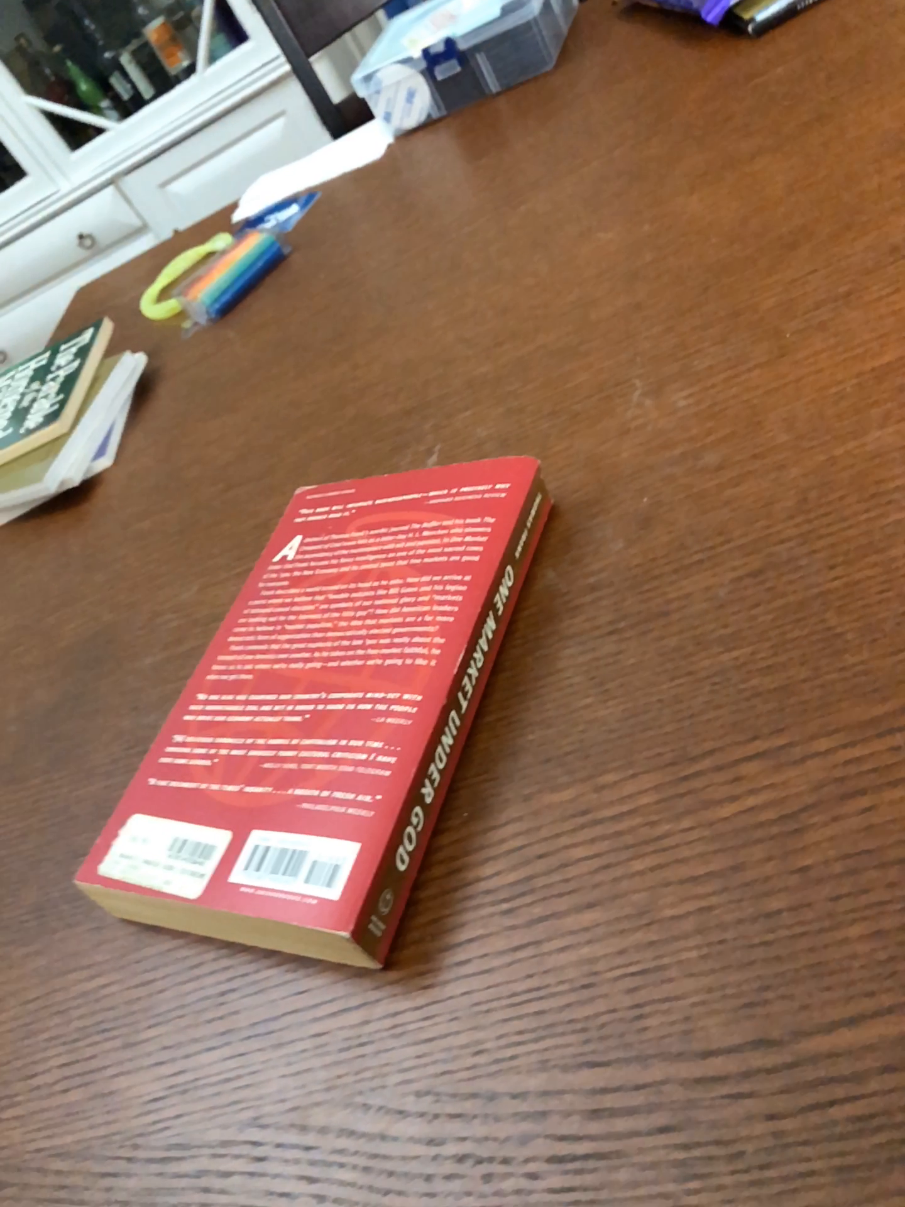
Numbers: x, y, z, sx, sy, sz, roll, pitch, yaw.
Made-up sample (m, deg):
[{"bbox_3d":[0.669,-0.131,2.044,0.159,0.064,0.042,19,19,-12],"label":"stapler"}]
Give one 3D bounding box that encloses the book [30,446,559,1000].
[{"bbox_3d":[-0.055,0.032,0.391,0.140,0.030,0.211,-4,49,35],"label":"book"}]
